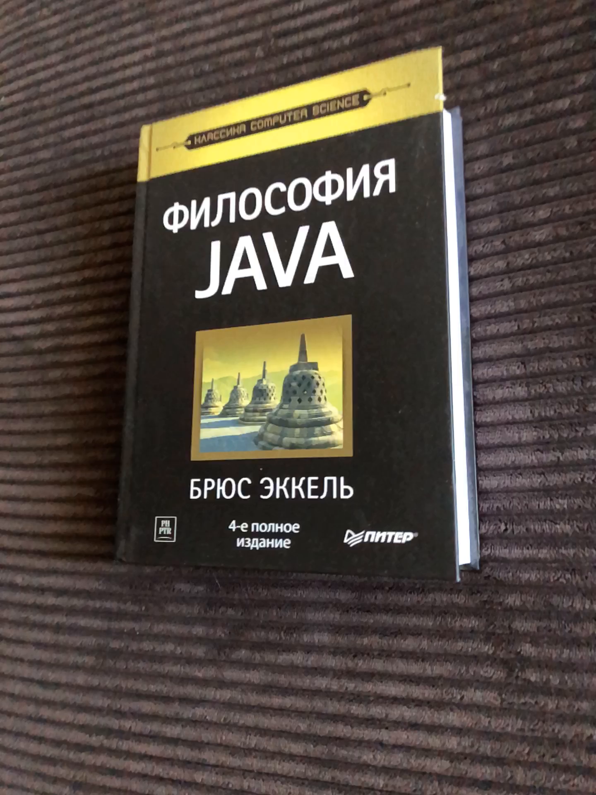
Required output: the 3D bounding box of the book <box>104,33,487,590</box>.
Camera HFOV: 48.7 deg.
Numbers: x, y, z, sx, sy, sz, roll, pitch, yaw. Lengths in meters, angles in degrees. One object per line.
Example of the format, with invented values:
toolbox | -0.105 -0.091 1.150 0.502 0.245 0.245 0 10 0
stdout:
book | -0.003 -0.034 0.332 0.171 0.060 0.239 -4 79 22
